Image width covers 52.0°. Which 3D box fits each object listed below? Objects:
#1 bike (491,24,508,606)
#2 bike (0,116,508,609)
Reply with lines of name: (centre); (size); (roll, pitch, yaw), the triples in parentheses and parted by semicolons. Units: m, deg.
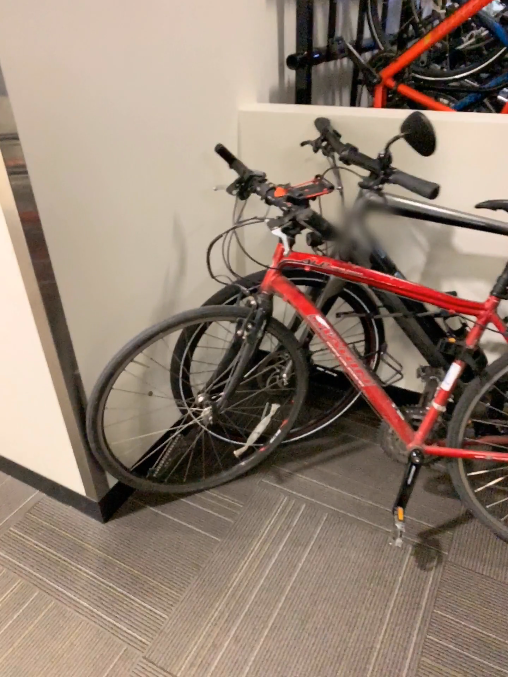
bike: (1.163, -0.038, 1.401); (0.726, 1.148, 0.696); (7, 33, 4)
bike: (0.408, 0.042, 1.345); (1.611, 0.927, 0.606); (5, 32, 4)
